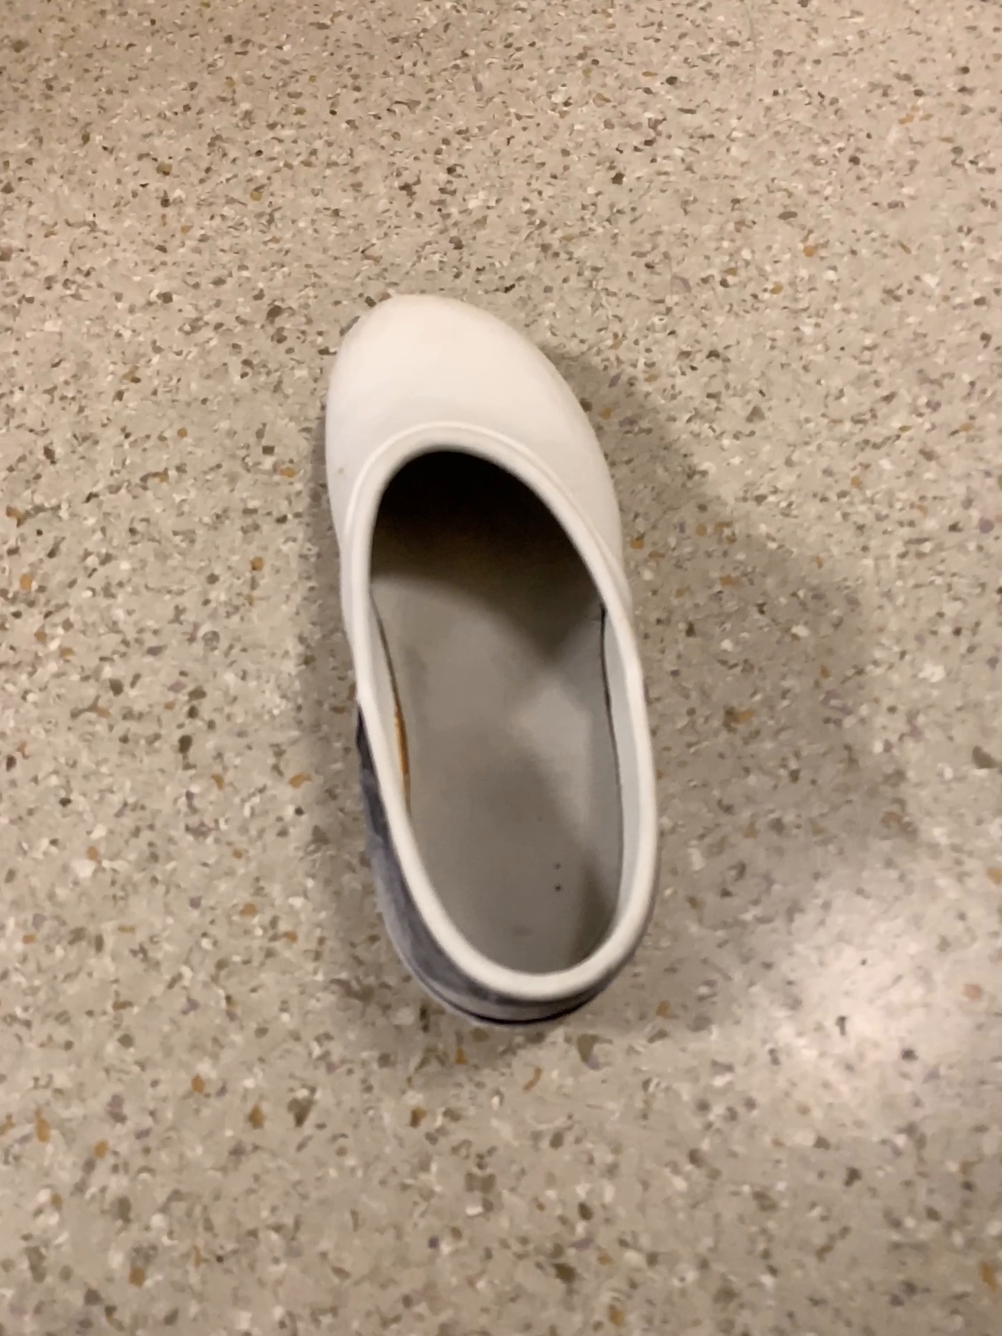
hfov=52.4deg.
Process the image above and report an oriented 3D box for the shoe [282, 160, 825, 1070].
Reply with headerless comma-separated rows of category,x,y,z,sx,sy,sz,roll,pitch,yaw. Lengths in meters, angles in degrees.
shoe,0.002,-0.022,0.318,0.107,0.101,0.256,-8,64,-1
